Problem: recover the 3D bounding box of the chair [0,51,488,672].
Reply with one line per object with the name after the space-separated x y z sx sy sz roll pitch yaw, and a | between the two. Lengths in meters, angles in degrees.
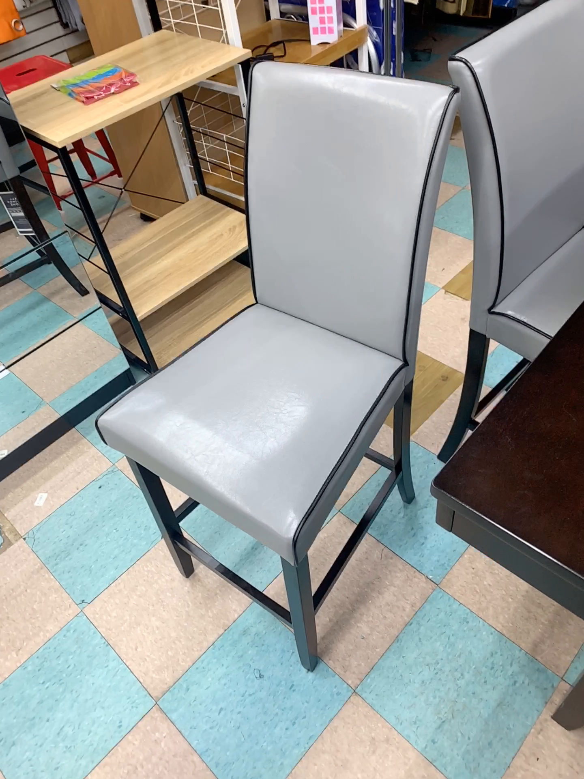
-0.030 -0.003 1.110 0.451 0.930 0.562 26 56 28 | chair
